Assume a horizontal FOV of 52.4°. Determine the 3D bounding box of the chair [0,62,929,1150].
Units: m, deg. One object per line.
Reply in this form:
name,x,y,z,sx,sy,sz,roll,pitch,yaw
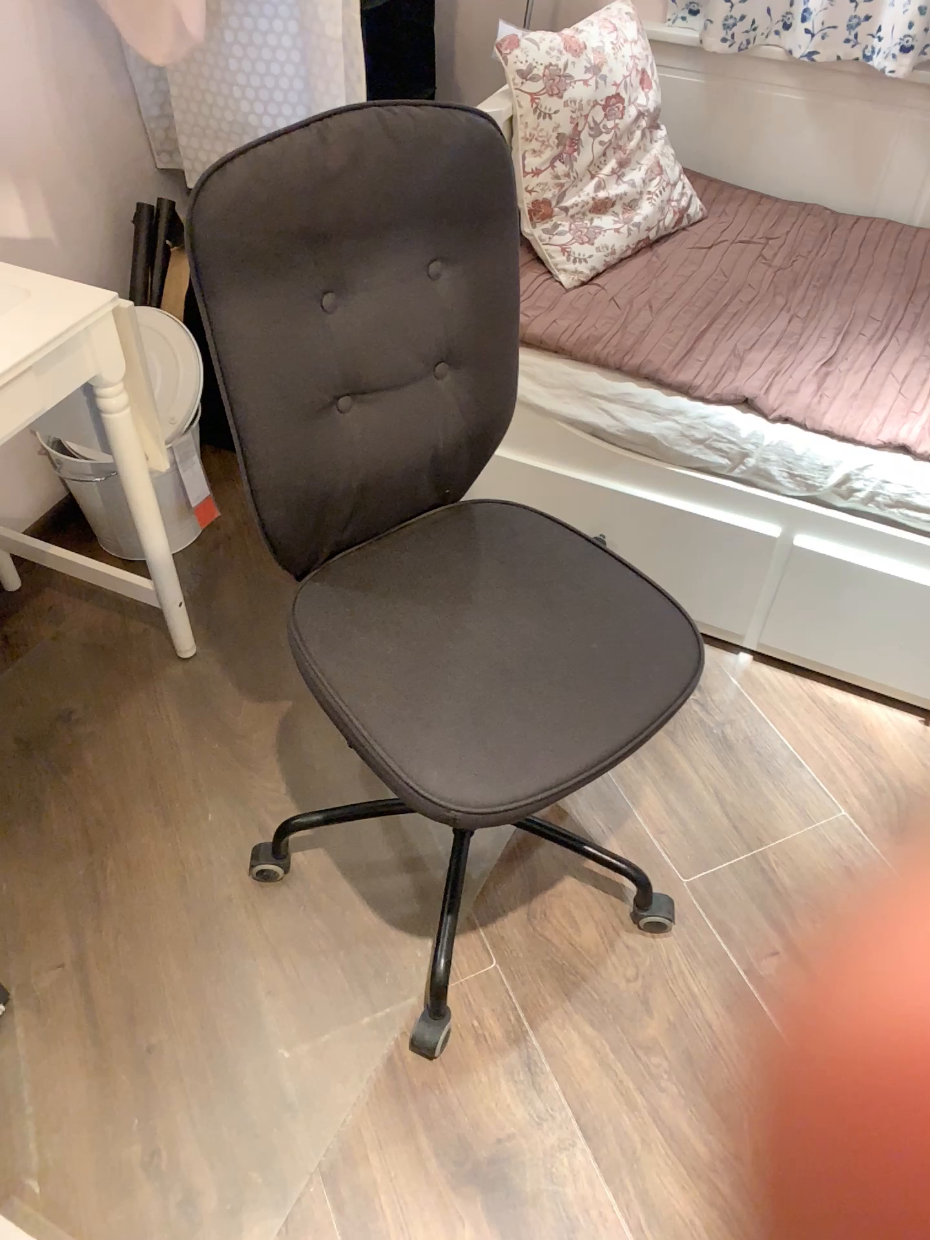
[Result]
chair,0.010,-0.014,1.184,0.651,0.947,0.732,-32,55,-28
